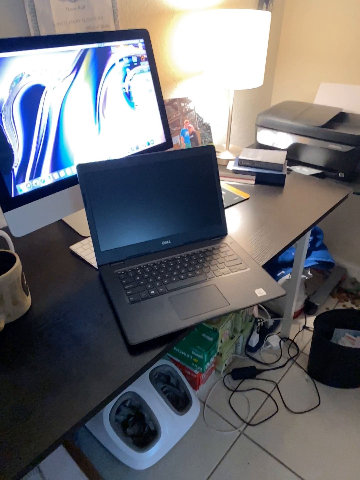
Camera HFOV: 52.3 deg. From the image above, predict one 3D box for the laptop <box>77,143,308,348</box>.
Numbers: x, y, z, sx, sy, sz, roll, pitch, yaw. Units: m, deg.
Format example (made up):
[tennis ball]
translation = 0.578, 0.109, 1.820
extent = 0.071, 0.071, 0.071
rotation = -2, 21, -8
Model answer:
[laptop]
translation = 0.001, -0.025, 0.774
extent = 0.336, 0.206, 0.344
rotation = -14, 36, -19
